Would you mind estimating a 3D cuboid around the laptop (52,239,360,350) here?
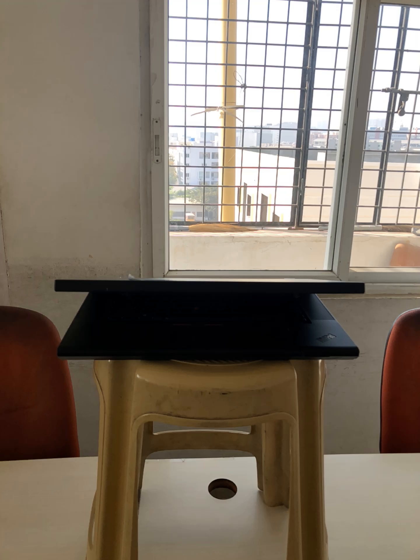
[{"bbox_3d":[-0.006,0.008,0.658,0.362,0.074,0.235,0,19,-4],"label":"laptop"}]
